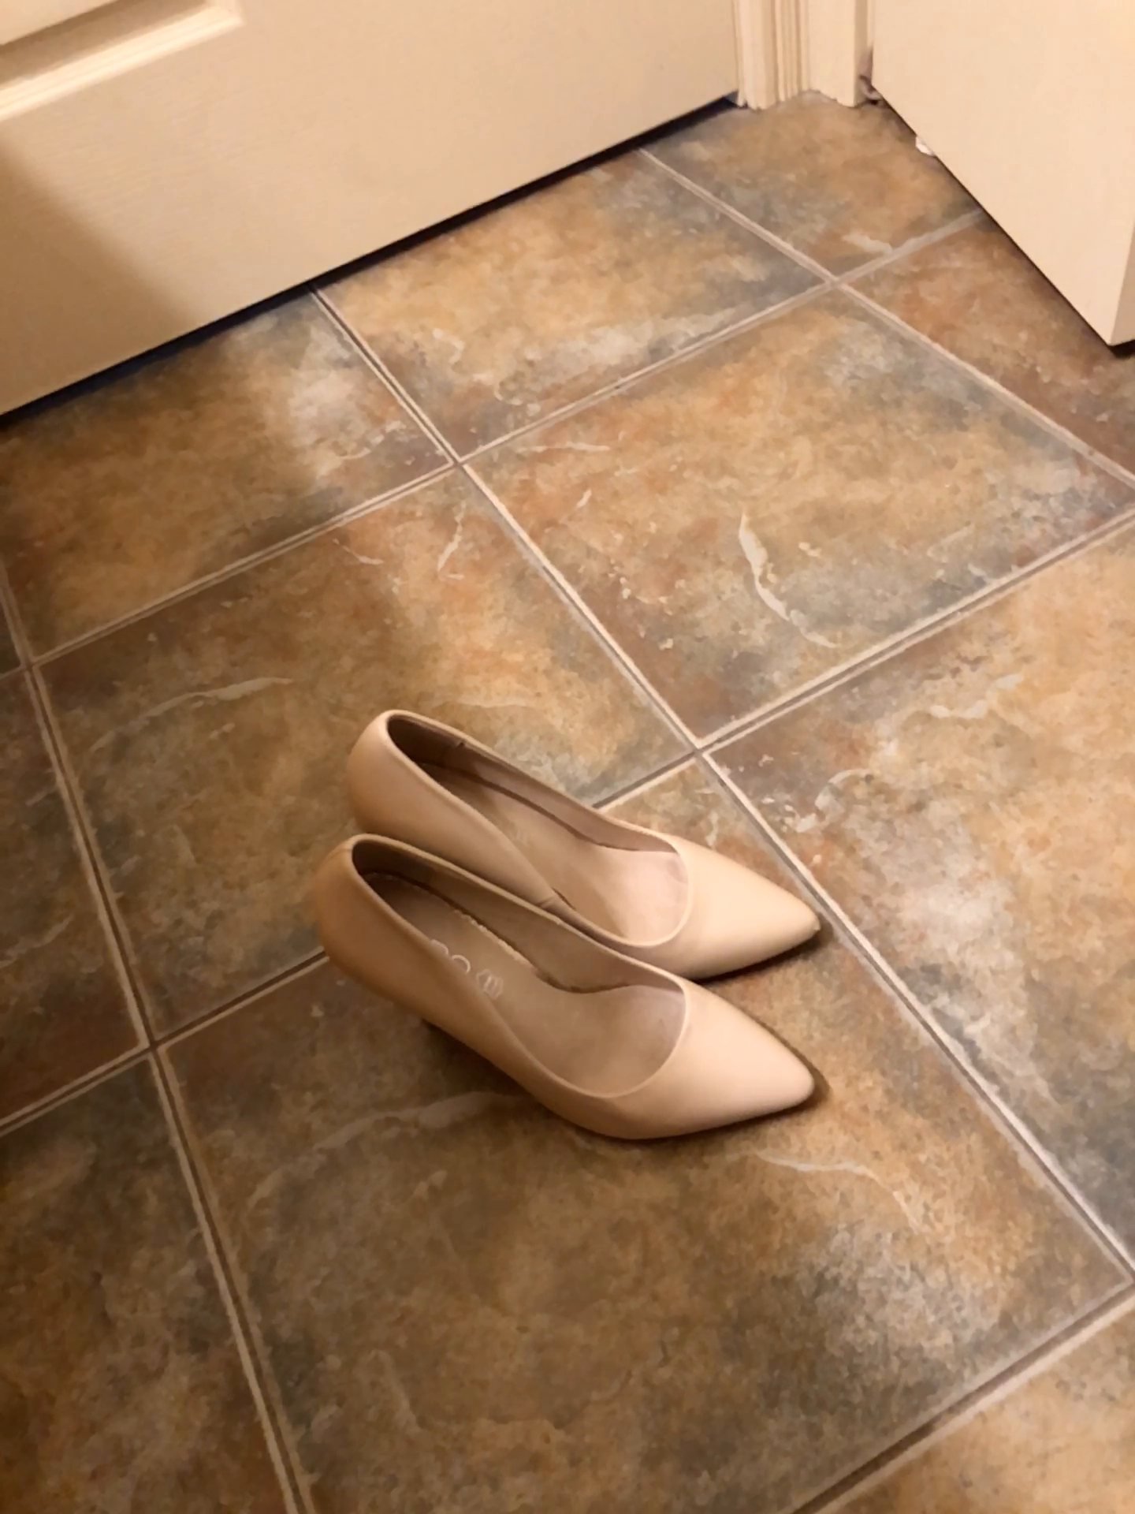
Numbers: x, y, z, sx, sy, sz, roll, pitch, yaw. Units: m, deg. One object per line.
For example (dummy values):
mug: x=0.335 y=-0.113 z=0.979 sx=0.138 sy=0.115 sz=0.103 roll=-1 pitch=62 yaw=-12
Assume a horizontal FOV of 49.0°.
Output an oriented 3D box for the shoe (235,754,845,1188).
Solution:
shoe: x=-0.002 y=0.093 z=0.547 sx=0.230 sy=0.149 sz=0.080 roll=9 pitch=54 yaw=20

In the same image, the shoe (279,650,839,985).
shoe: x=0.005 y=0.027 z=0.581 sx=0.230 sy=0.130 sz=0.080 roll=3 pitch=52 yaw=16
